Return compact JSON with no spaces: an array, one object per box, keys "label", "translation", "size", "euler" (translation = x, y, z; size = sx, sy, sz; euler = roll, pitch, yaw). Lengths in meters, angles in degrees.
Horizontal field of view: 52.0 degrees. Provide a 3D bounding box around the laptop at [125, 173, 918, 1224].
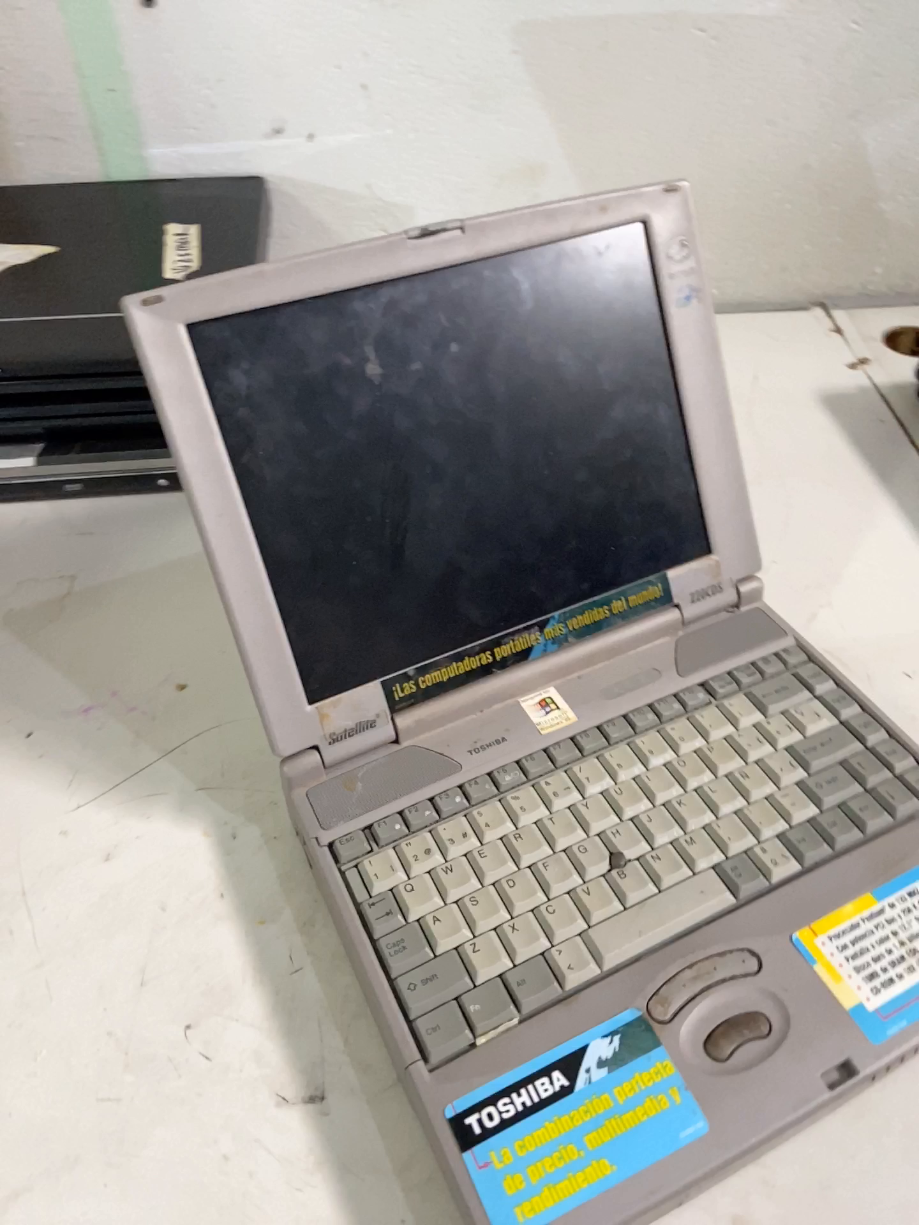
[{"label":"laptop","translation":[0.070,-0.004,0.414],"size":[0.301,0.195,0.359],"euler":[-20,48,-18]}]
